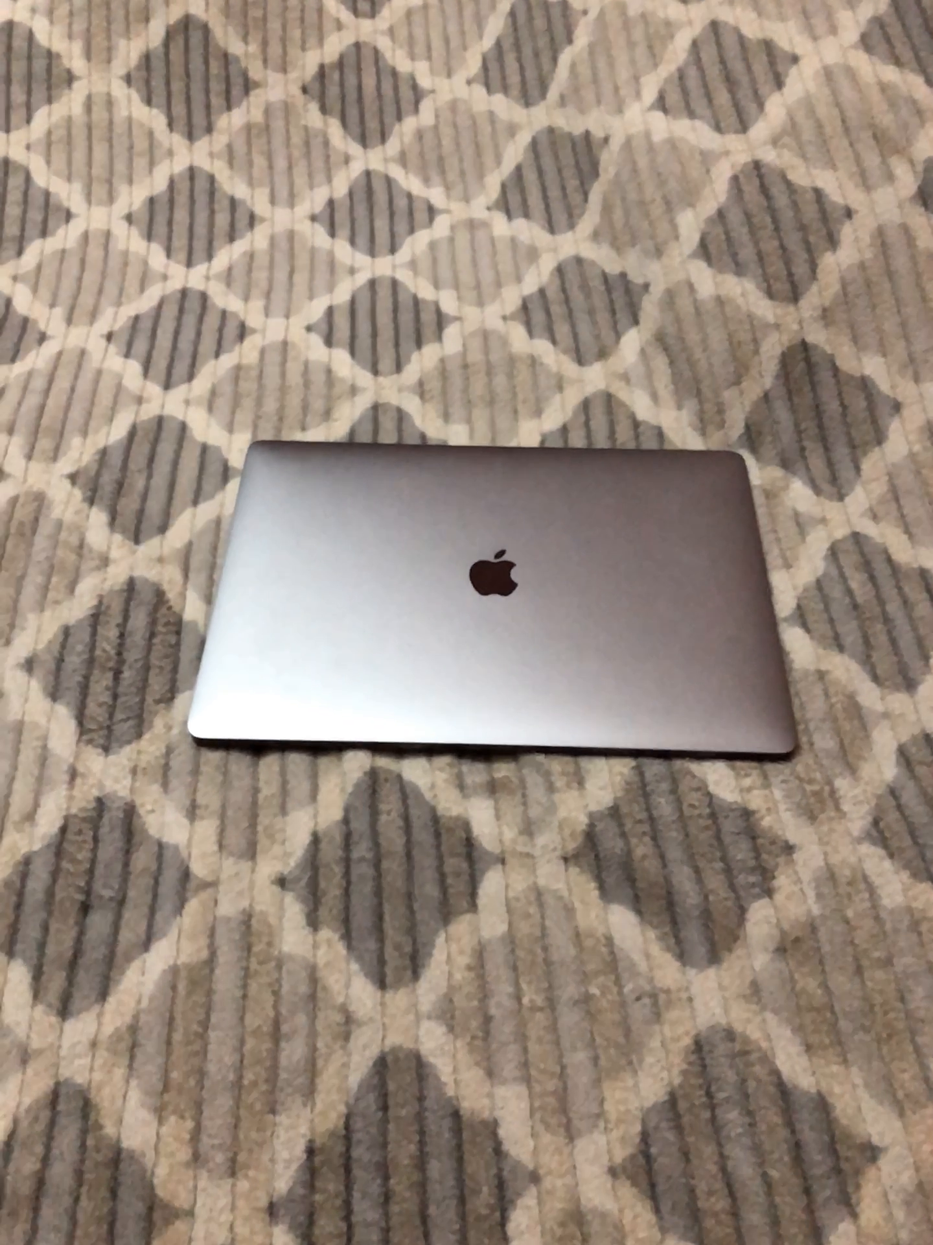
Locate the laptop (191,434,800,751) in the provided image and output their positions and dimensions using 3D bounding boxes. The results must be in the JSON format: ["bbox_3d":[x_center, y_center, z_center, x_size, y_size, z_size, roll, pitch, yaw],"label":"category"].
[{"bbox_3d":[0.018,-0.031,0.680,0.358,0.007,0.247,2,53,1],"label":"laptop"}]
